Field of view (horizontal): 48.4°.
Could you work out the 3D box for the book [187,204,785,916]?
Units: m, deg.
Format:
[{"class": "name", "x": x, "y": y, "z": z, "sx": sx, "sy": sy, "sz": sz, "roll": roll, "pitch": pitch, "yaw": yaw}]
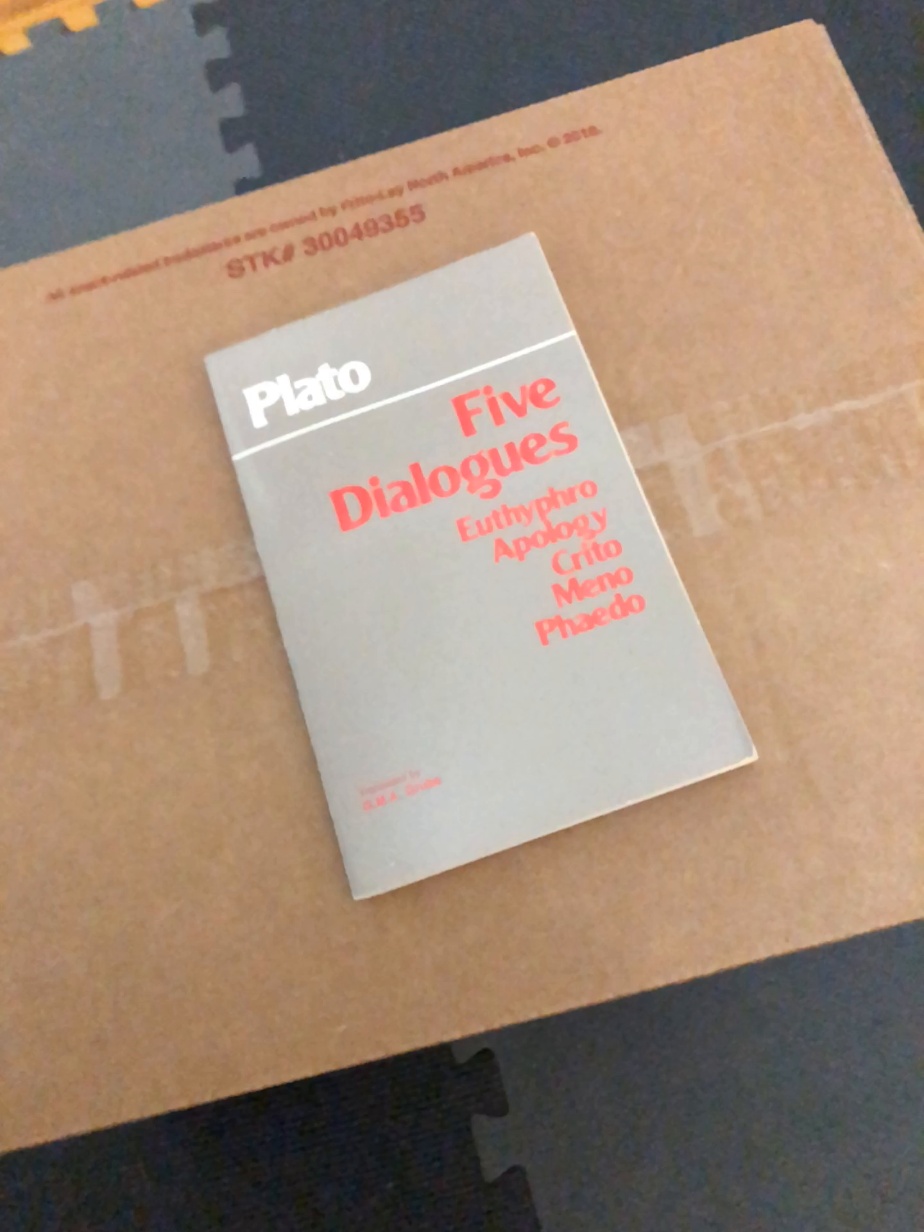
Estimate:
[{"class": "book", "x": -0.002, "y": -0.028, "z": 0.359, "sx": 0.140, "sy": 0.020, "sz": 0.220, "roll": -21, "pitch": 71, "yaw": 2}]
